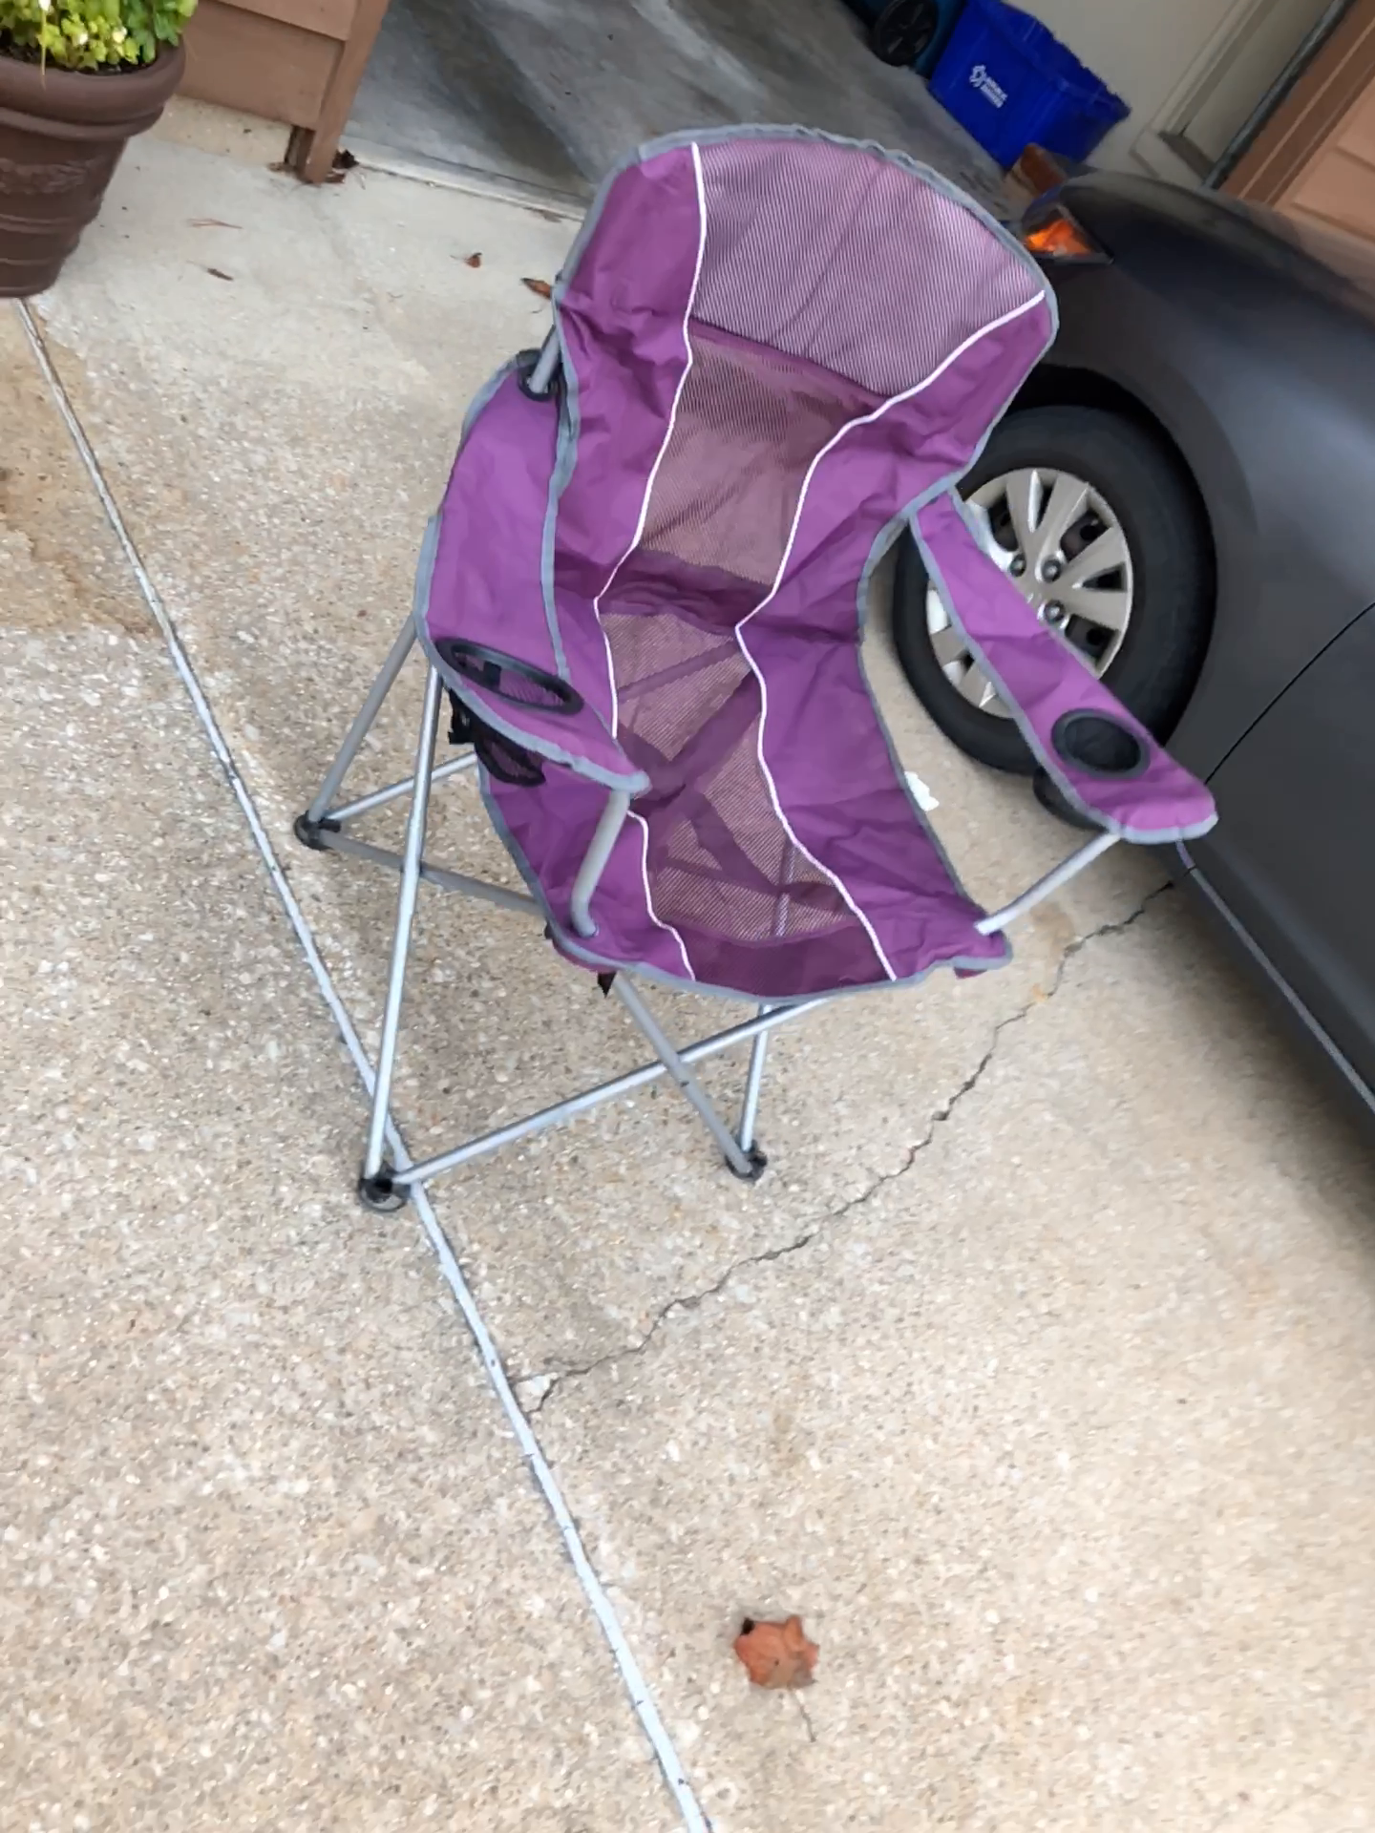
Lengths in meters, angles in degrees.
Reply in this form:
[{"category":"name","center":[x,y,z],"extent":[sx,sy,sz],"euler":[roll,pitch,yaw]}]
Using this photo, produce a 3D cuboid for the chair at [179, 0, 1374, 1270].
[{"category":"chair","center":[0.049,-0.220,1.493],"extent":[0.763,0.877,0.709],"euler":[2,50,-35]}]
